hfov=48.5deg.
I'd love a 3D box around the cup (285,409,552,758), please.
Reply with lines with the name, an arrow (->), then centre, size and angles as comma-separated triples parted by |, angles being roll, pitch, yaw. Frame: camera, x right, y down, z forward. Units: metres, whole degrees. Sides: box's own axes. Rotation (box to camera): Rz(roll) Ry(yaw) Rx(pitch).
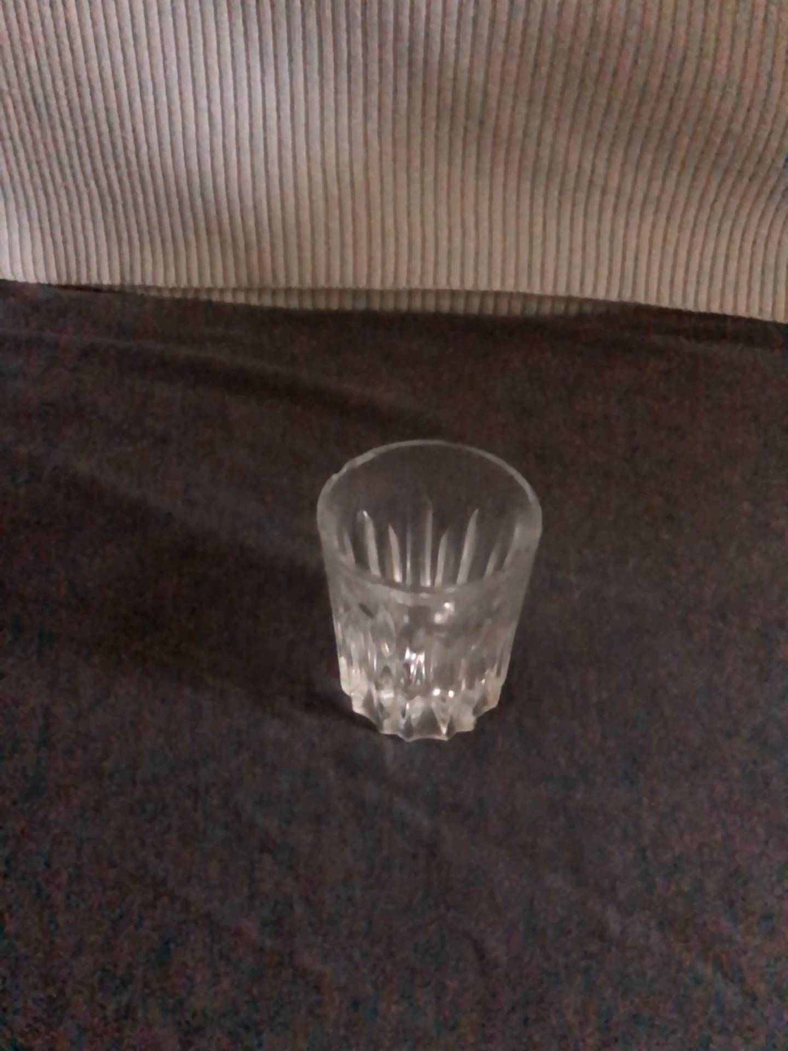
cup -> 0.007, 0.017, 0.247 | 0.059, 0.078, 0.048 | 10, 43, 8
